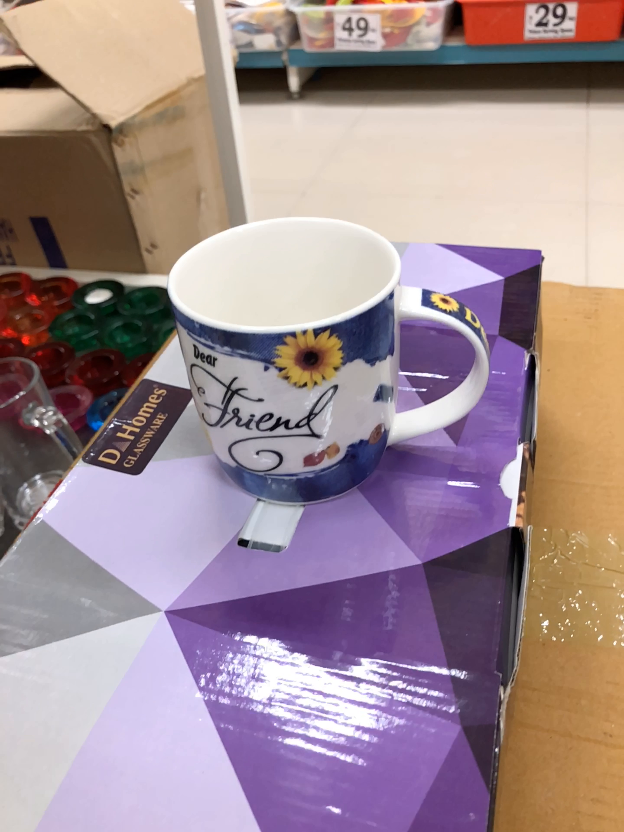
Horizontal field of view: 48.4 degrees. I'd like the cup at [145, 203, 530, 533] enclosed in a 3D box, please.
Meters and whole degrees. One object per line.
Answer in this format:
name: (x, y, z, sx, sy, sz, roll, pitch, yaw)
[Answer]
cup: (0.010, -0.019, 0.275, 0.120, 0.089, 0.081, -5, 40, 1)
